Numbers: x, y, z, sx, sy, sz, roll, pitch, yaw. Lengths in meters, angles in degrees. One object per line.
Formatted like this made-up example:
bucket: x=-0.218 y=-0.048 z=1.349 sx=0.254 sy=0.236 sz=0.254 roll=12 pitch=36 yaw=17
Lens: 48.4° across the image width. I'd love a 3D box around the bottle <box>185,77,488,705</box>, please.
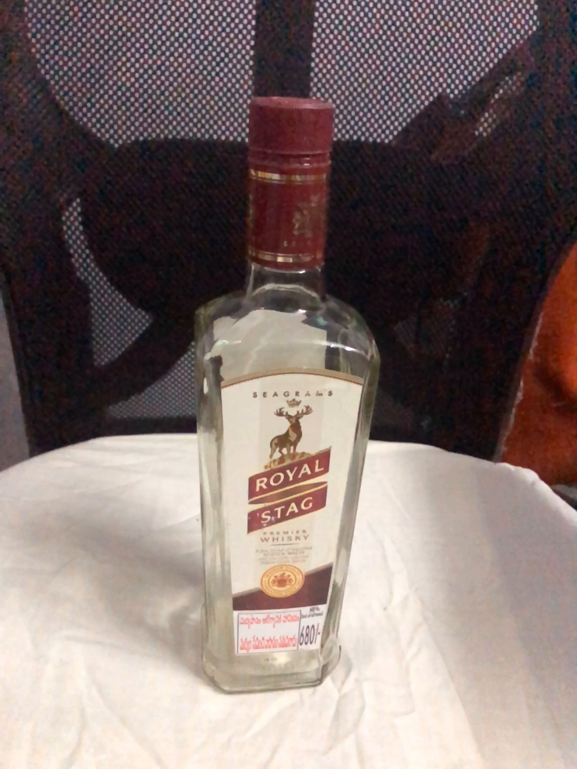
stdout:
bottle: x=0.002 y=0.024 z=0.283 sx=0.090 sy=0.278 sz=0.060 roll=1 pitch=29 yaw=-7
